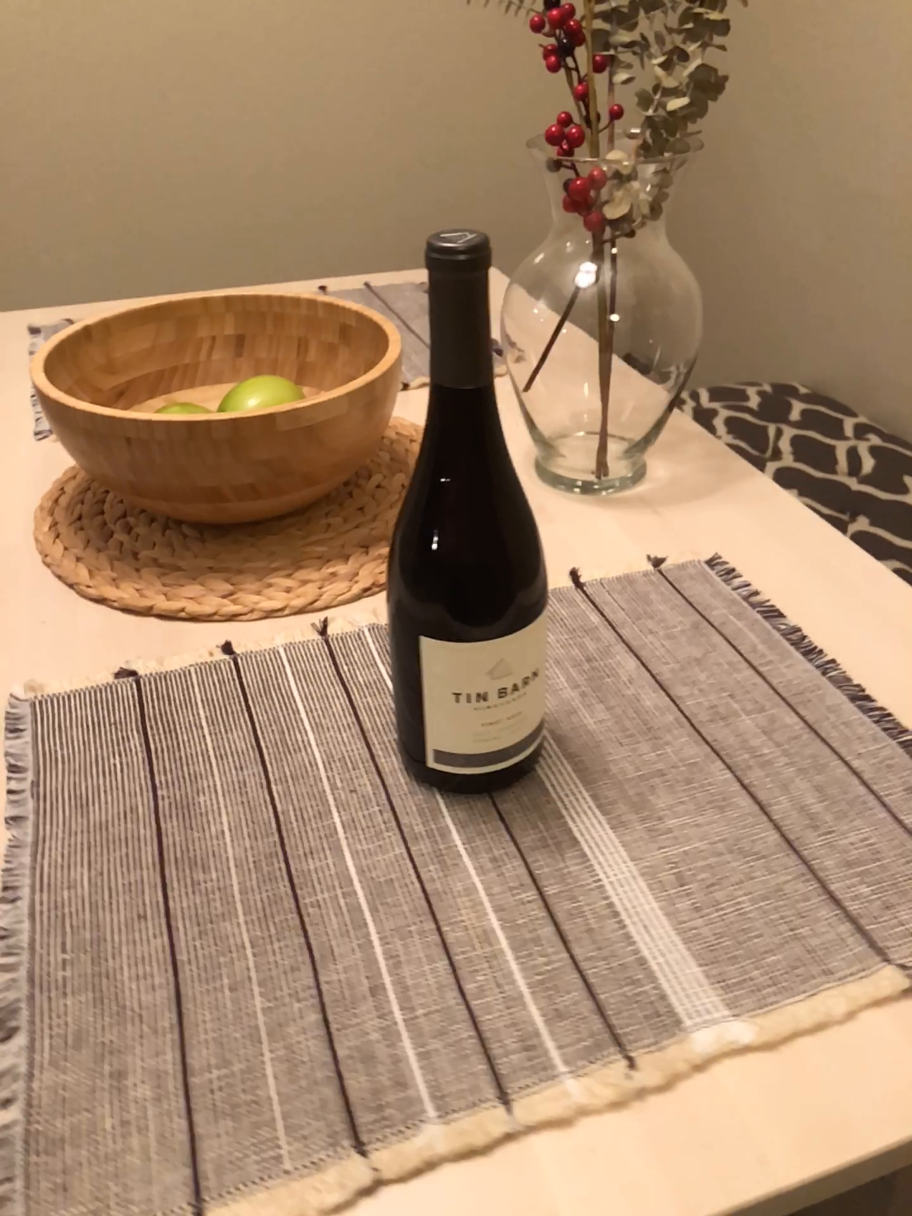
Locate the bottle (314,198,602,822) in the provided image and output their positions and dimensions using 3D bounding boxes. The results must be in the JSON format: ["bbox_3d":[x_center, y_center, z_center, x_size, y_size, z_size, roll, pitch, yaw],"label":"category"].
[{"bbox_3d":[0.000,-0.042,0.512,0.090,0.288,0.100,-15,36,-21],"label":"bottle"}]

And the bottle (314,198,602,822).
[{"bbox_3d":[0.000,-0.042,0.512,0.090,0.288,0.100,-15,36,-21],"label":"bottle"}]
